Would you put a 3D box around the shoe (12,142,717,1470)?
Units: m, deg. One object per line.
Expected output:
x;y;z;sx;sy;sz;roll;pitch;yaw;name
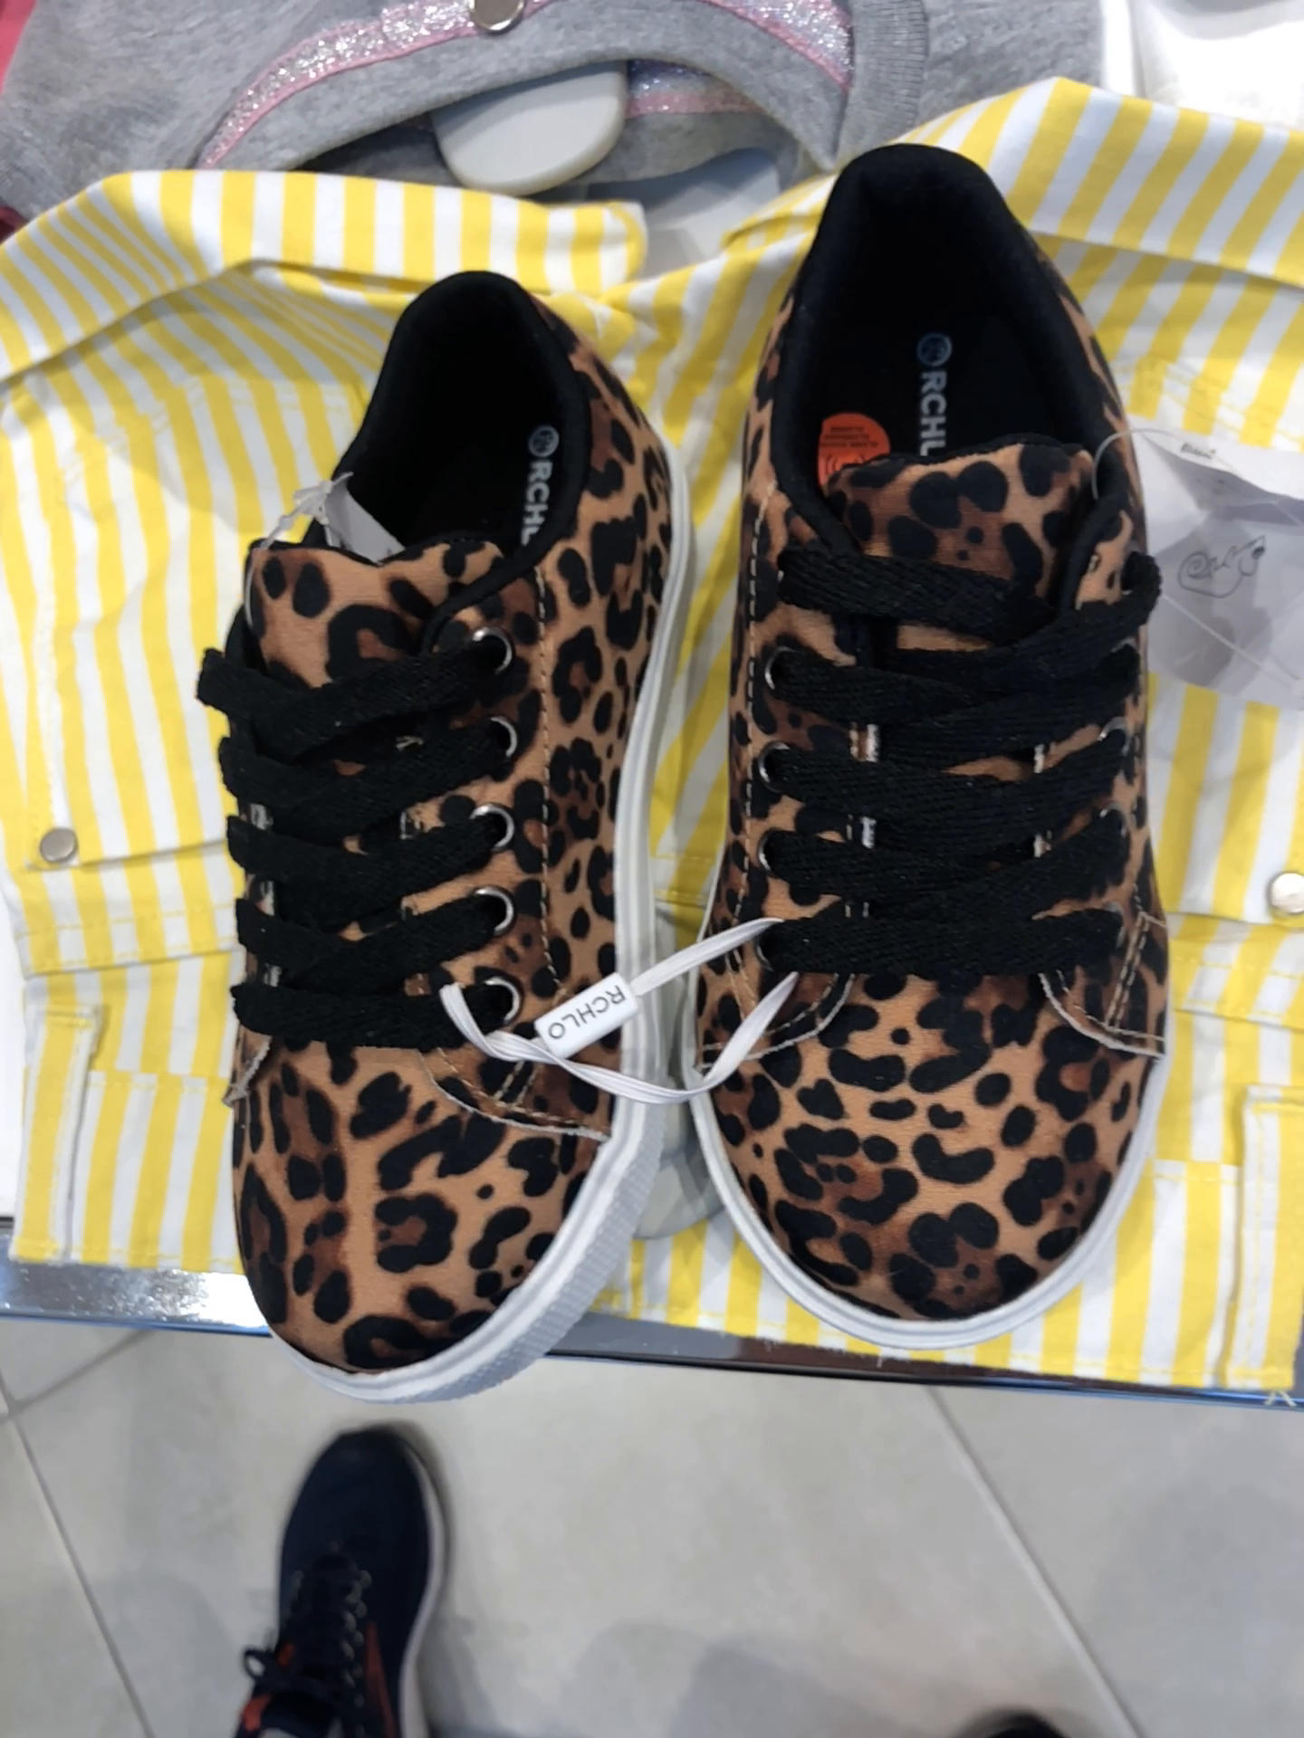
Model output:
-0.044;-0.008;0.233;0.080;0.060;0.170;-2;82;37;shoe

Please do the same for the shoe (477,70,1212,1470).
0.031;-0.014;0.221;0.080;0.080;0.170;4;84;10;shoe
